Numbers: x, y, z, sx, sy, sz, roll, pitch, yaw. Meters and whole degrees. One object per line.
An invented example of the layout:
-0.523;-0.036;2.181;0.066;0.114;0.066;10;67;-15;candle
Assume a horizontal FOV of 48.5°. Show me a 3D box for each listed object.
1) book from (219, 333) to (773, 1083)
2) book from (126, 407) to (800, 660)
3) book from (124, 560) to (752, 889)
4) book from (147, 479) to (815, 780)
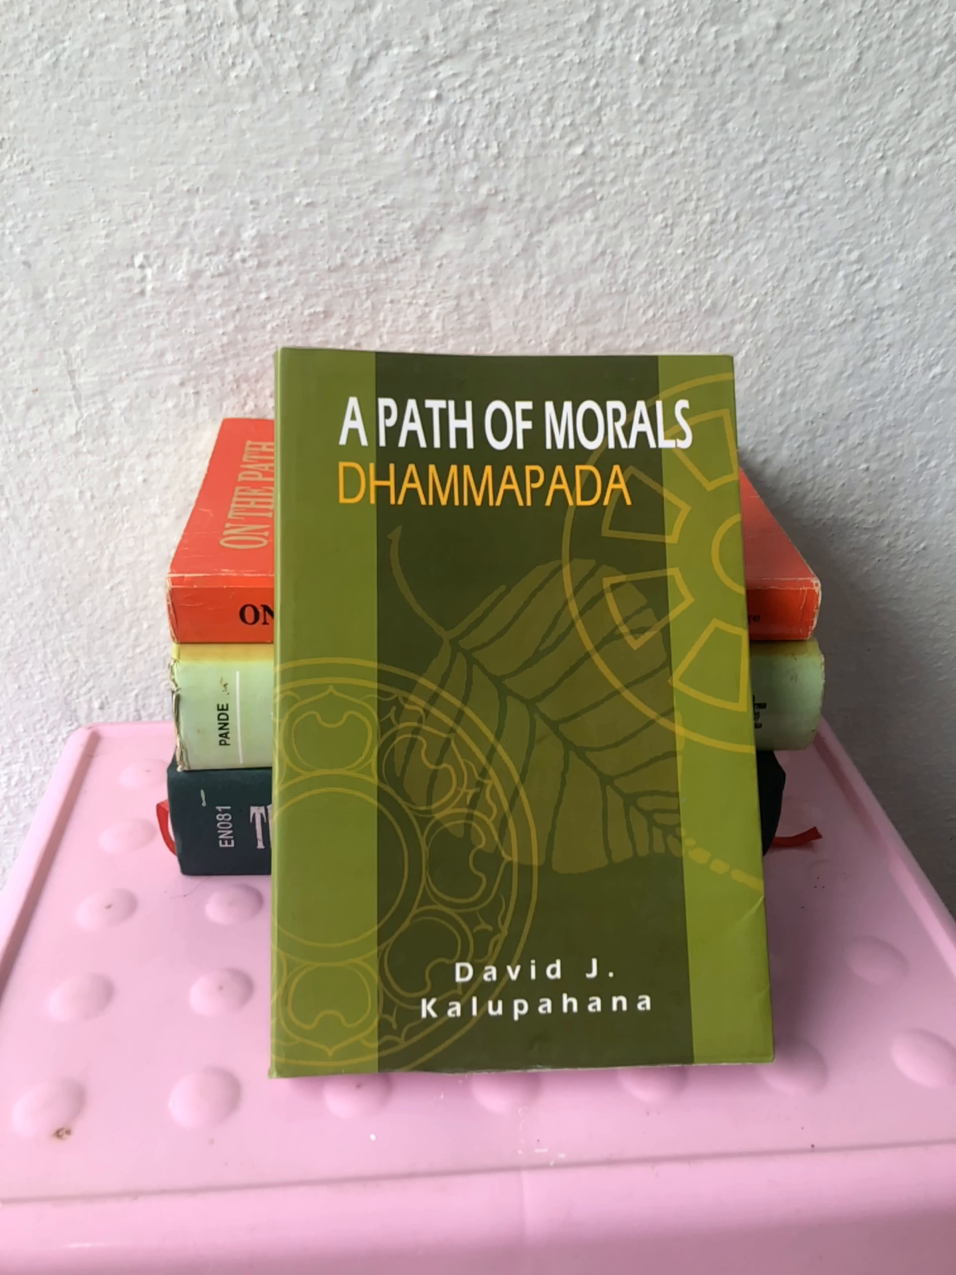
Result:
0.004;0.017;0.323;0.150;0.210;0.040;0;-10;-5;book
-0.008;-0.048;0.407;0.210;0.030;0.161;-2;29;-4;book
-0.015;0.026;0.437;0.210;0.050;0.161;-1;29;-2;book
-0.003;-0.013;0.412;0.210;0.040;0.161;-1;29;-4;book
